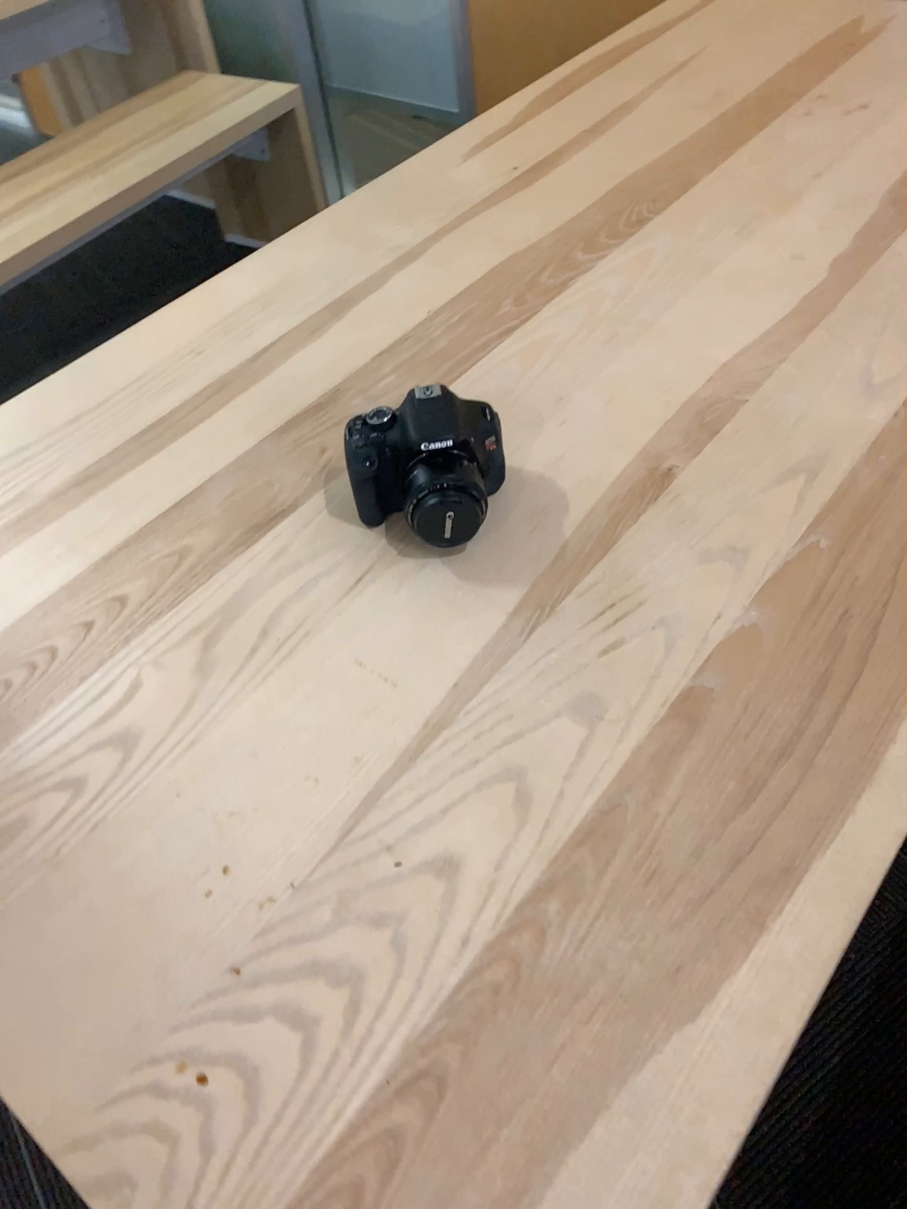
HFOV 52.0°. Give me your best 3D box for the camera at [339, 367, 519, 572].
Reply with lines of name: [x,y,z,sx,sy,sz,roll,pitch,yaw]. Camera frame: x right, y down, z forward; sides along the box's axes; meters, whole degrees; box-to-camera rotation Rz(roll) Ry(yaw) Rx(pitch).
camera: [-0.021,-0.113,0.767,0.127,0.089,0.127,-9,47,0]
